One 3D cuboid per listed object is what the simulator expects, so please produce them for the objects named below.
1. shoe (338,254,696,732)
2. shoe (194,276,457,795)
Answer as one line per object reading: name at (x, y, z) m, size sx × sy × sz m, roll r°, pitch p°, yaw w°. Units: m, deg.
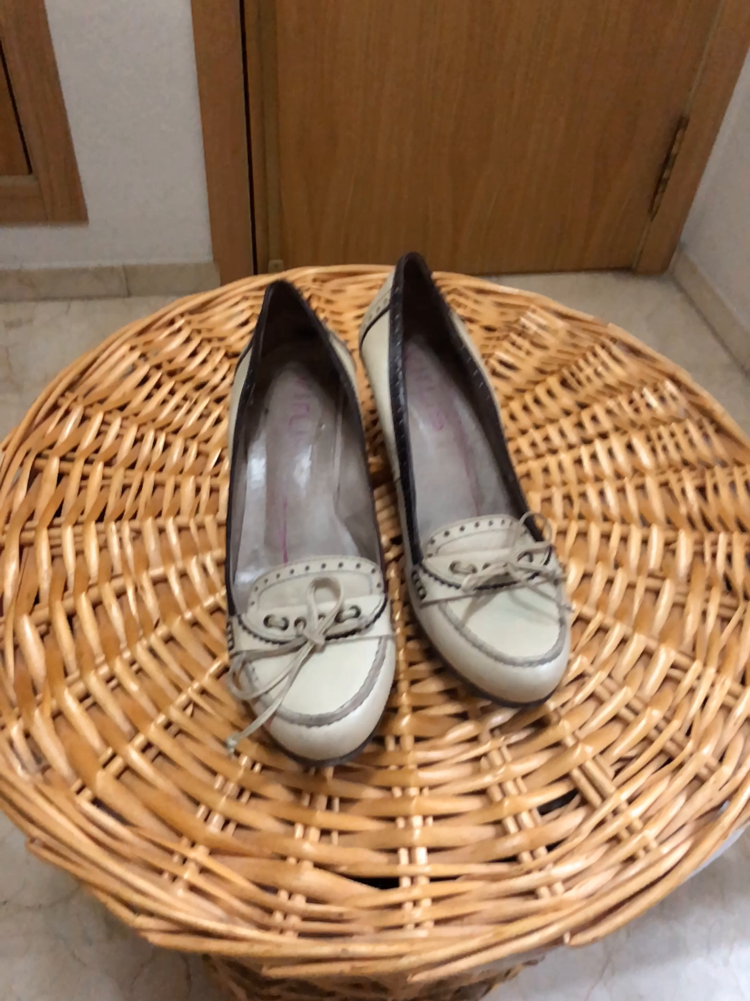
shoe at (0.057, -0.021, 0.463) m, size 0.100 × 0.090 × 0.261 m, roll -11°, pitch 49°, yaw -9°
shoe at (-0.031, 0.003, 0.444) m, size 0.100 × 0.110 × 0.261 m, roll -4°, pitch 48°, yaw -4°
